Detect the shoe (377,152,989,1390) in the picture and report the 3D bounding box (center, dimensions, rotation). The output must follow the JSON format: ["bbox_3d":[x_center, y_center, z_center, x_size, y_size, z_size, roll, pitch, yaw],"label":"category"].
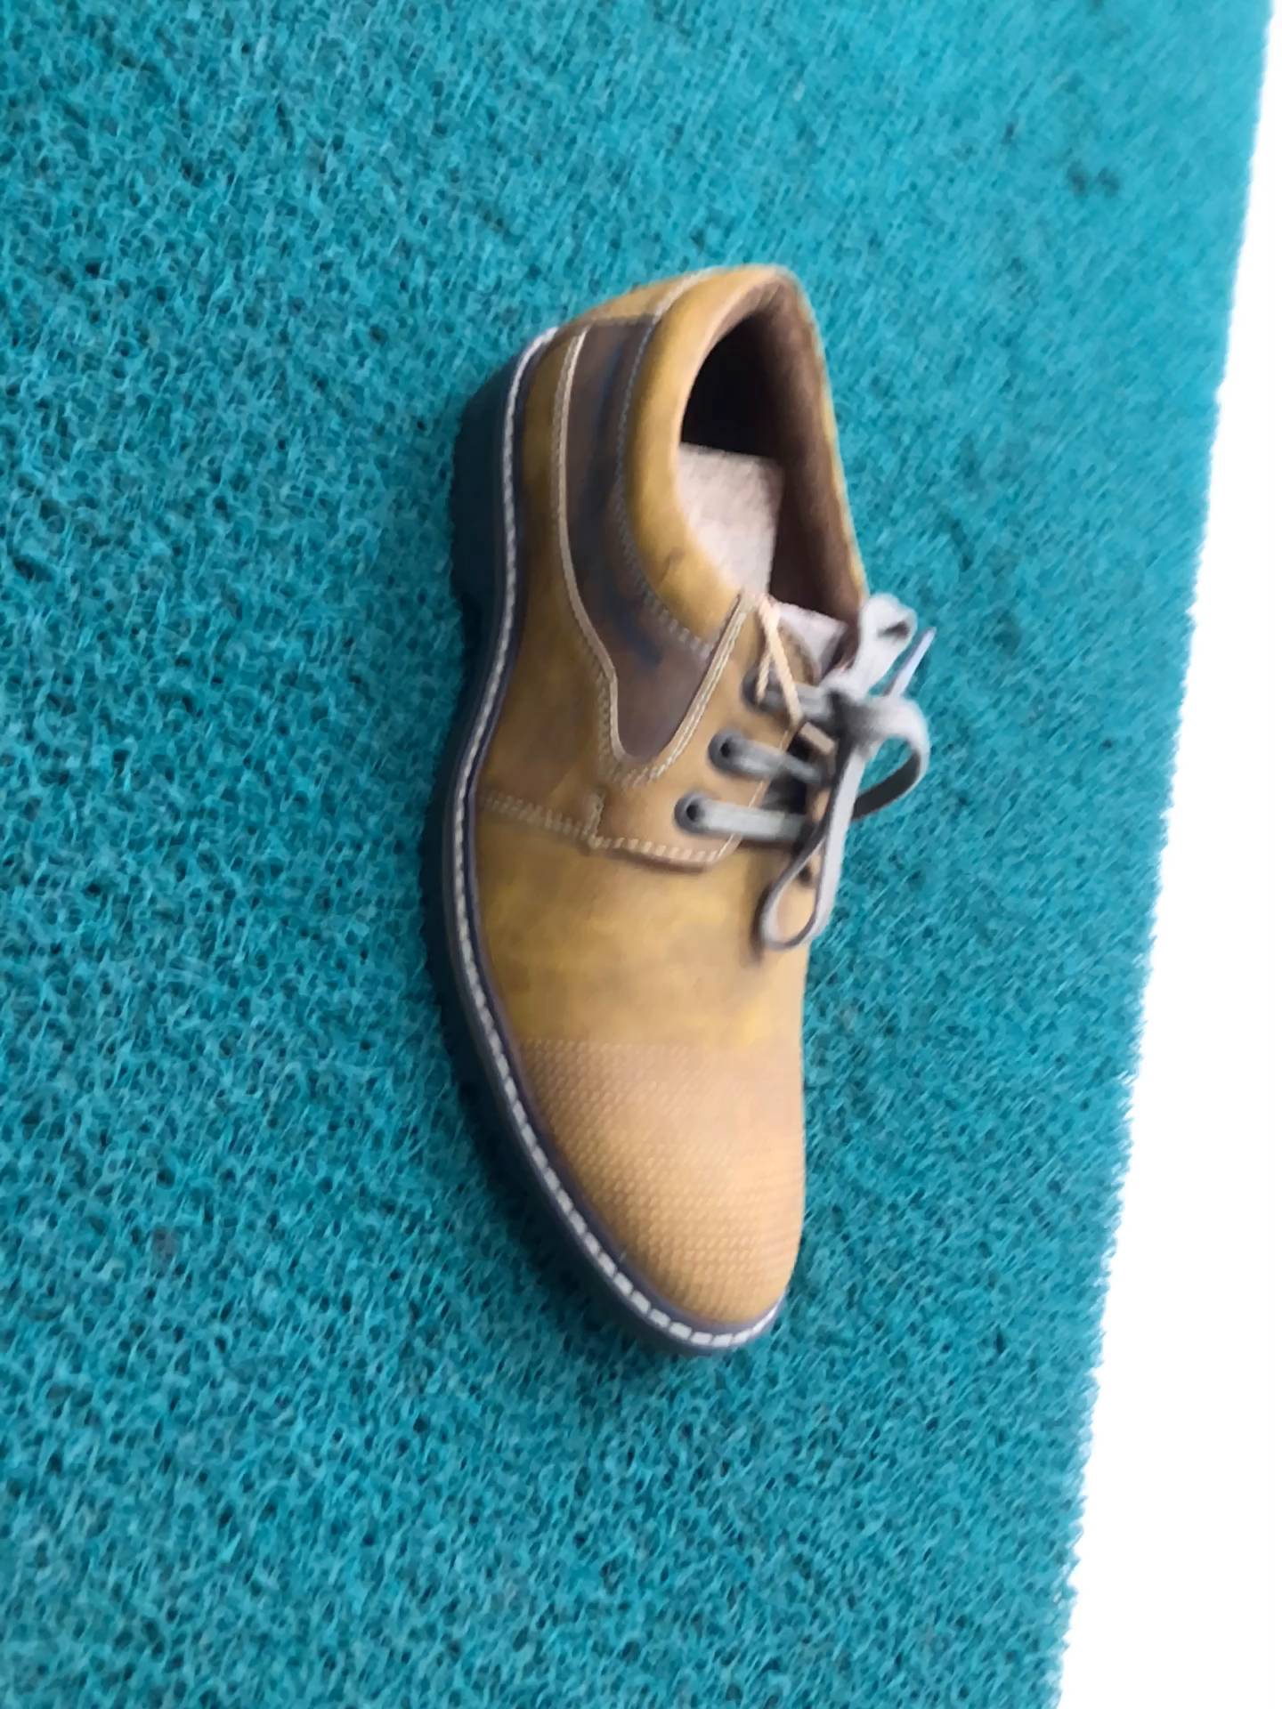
[{"bbox_3d":[0.004,-0.018,0.404,0.101,0.109,0.300,5,75,-40],"label":"shoe"}]
